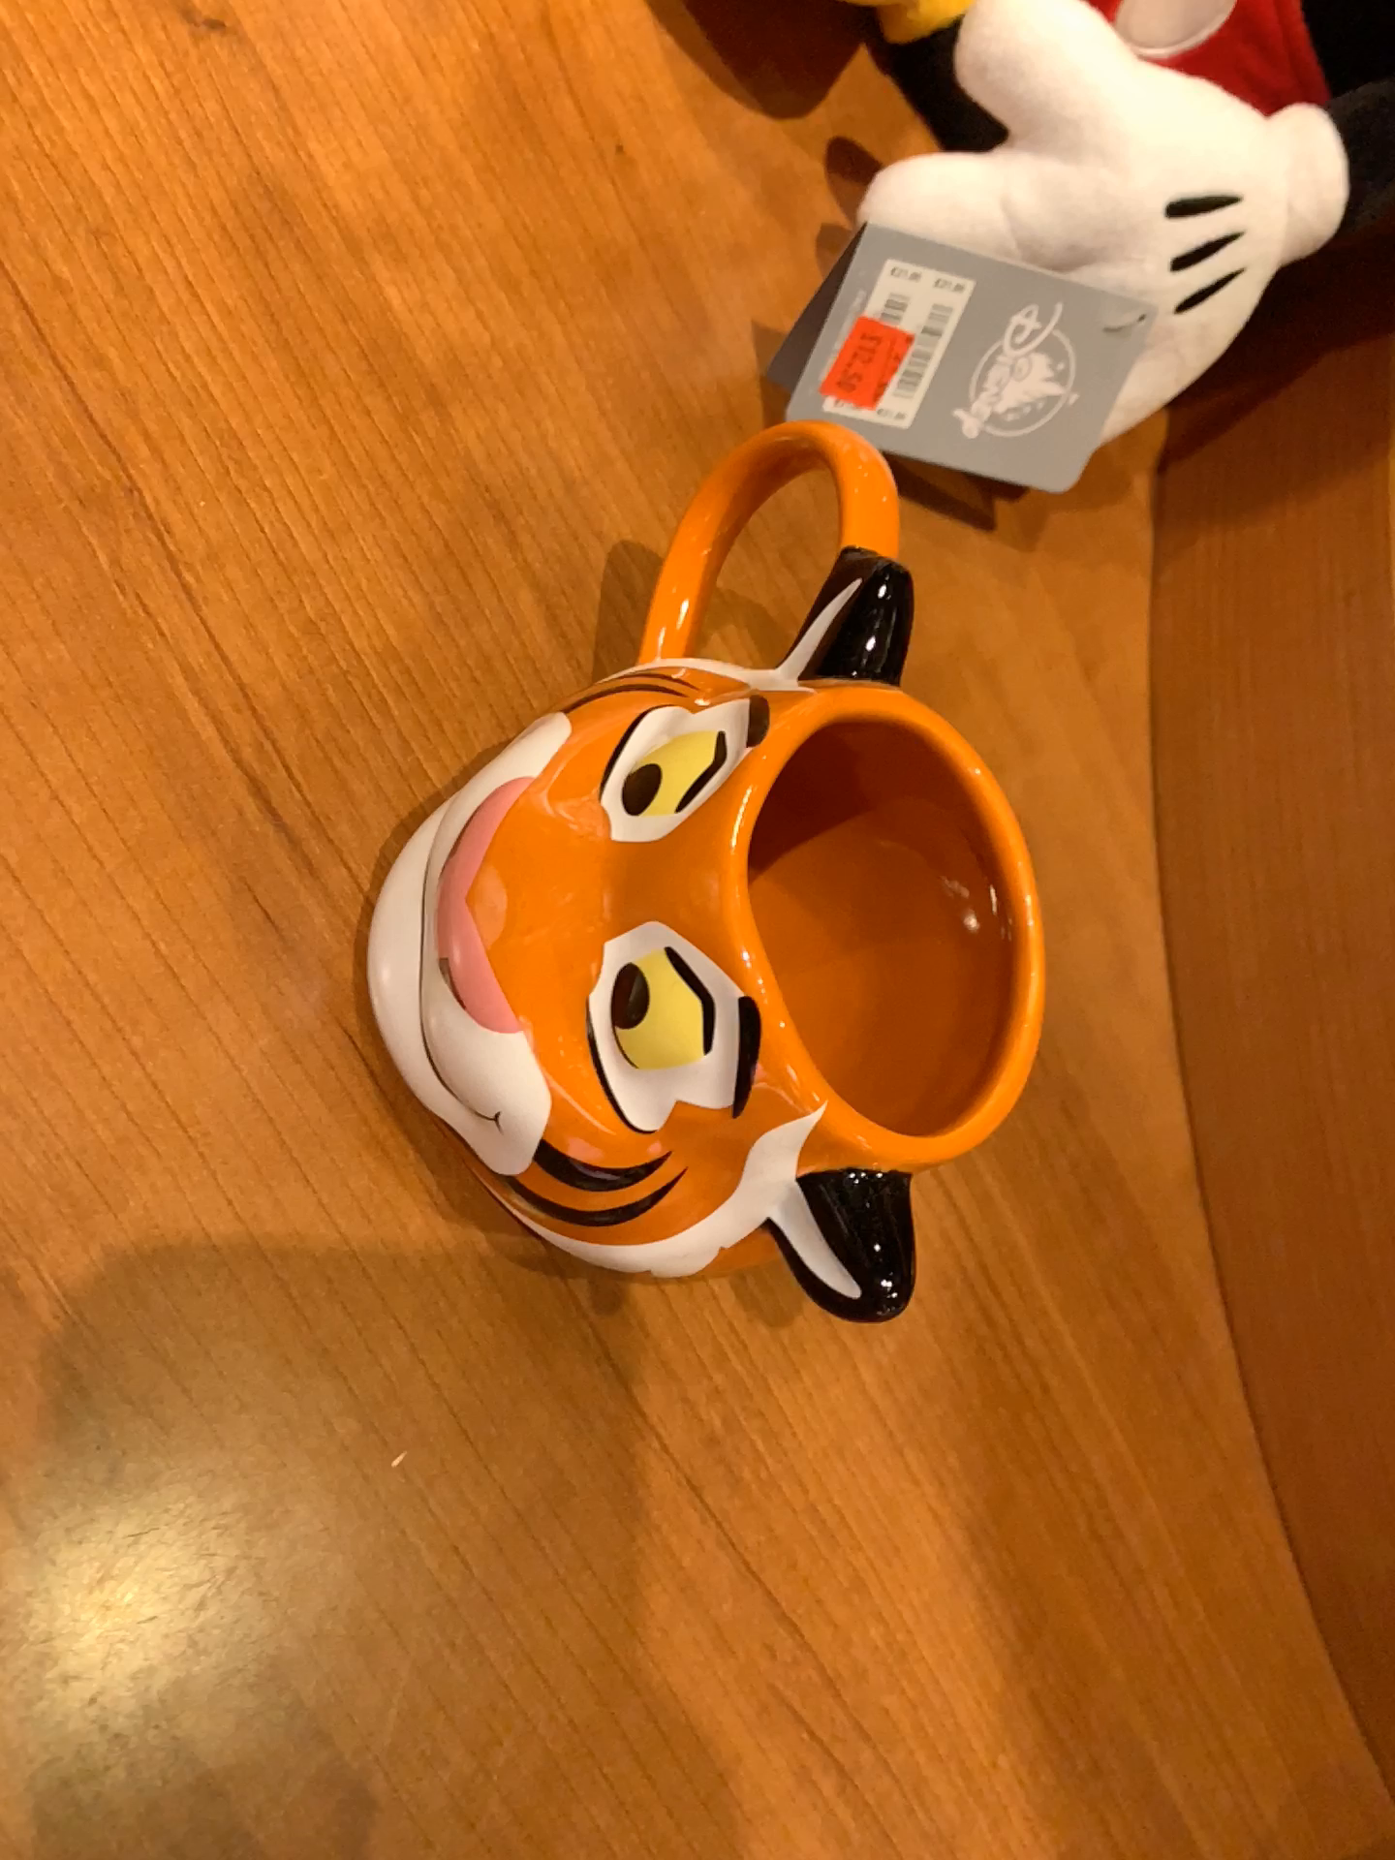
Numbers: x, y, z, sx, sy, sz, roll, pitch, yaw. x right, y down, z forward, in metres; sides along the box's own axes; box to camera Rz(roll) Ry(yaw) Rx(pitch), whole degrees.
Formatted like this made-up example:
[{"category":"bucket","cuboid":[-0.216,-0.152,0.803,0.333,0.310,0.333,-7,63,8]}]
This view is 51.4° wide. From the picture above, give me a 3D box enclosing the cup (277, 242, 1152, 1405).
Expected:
[{"category":"cup","cuboid":[0.005,-0.005,0.244,0.107,0.086,0.150,12,73,-40]}]
